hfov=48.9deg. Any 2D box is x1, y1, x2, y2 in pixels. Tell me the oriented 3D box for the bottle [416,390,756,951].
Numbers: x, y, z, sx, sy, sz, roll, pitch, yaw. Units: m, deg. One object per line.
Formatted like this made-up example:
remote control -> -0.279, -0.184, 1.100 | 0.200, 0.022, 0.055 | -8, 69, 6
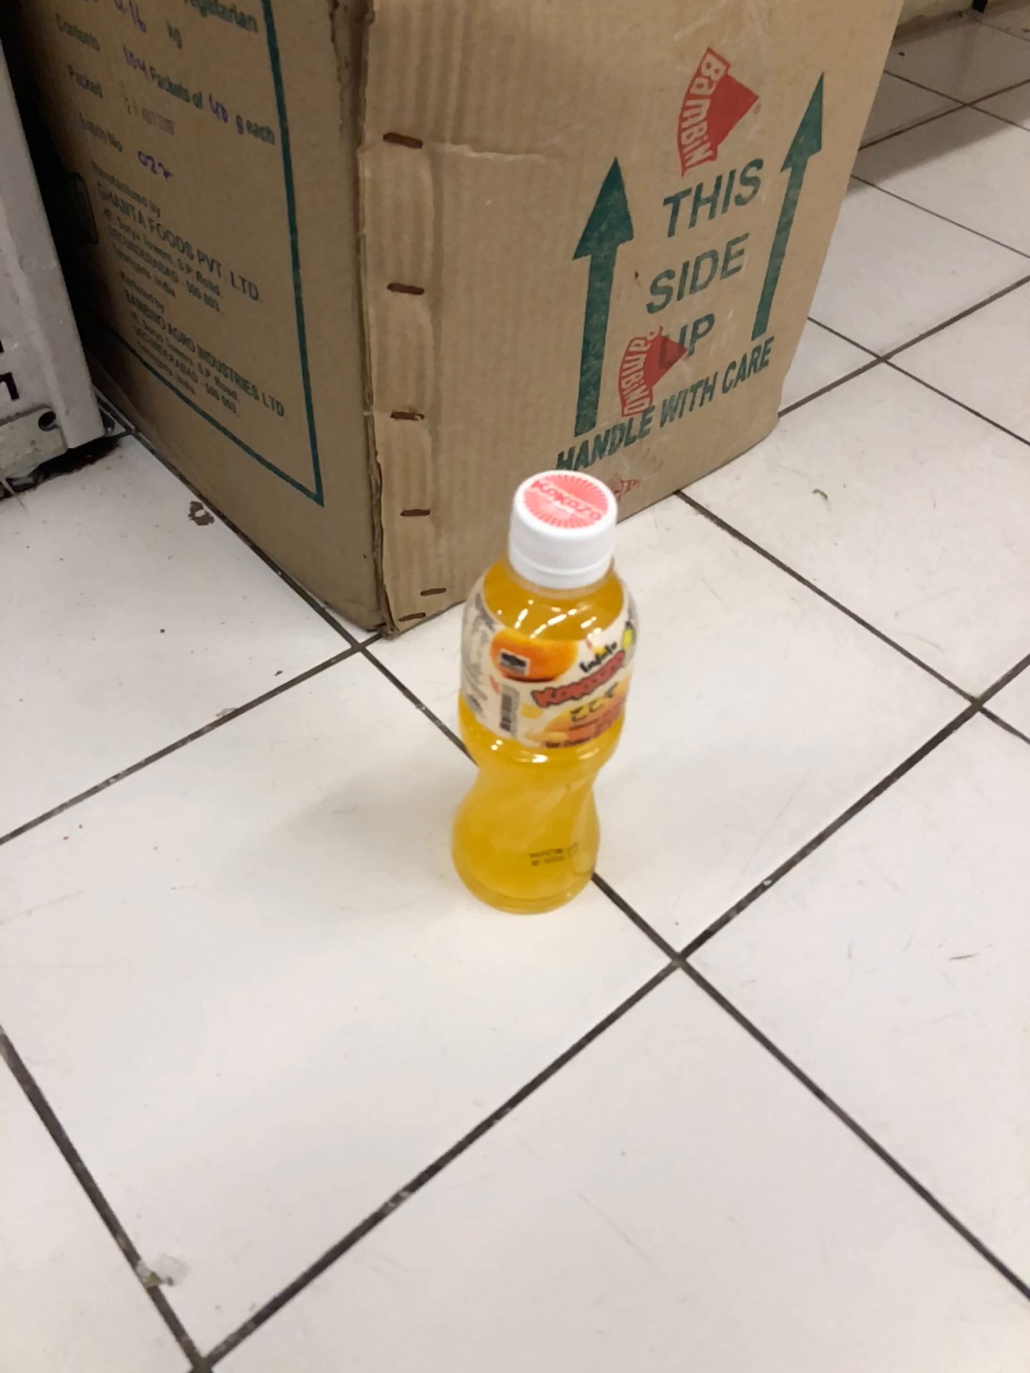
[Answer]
bottle -> 0.013, 0.003, 0.385 | 0.070, 0.179, 0.070 | 2, 48, -3
